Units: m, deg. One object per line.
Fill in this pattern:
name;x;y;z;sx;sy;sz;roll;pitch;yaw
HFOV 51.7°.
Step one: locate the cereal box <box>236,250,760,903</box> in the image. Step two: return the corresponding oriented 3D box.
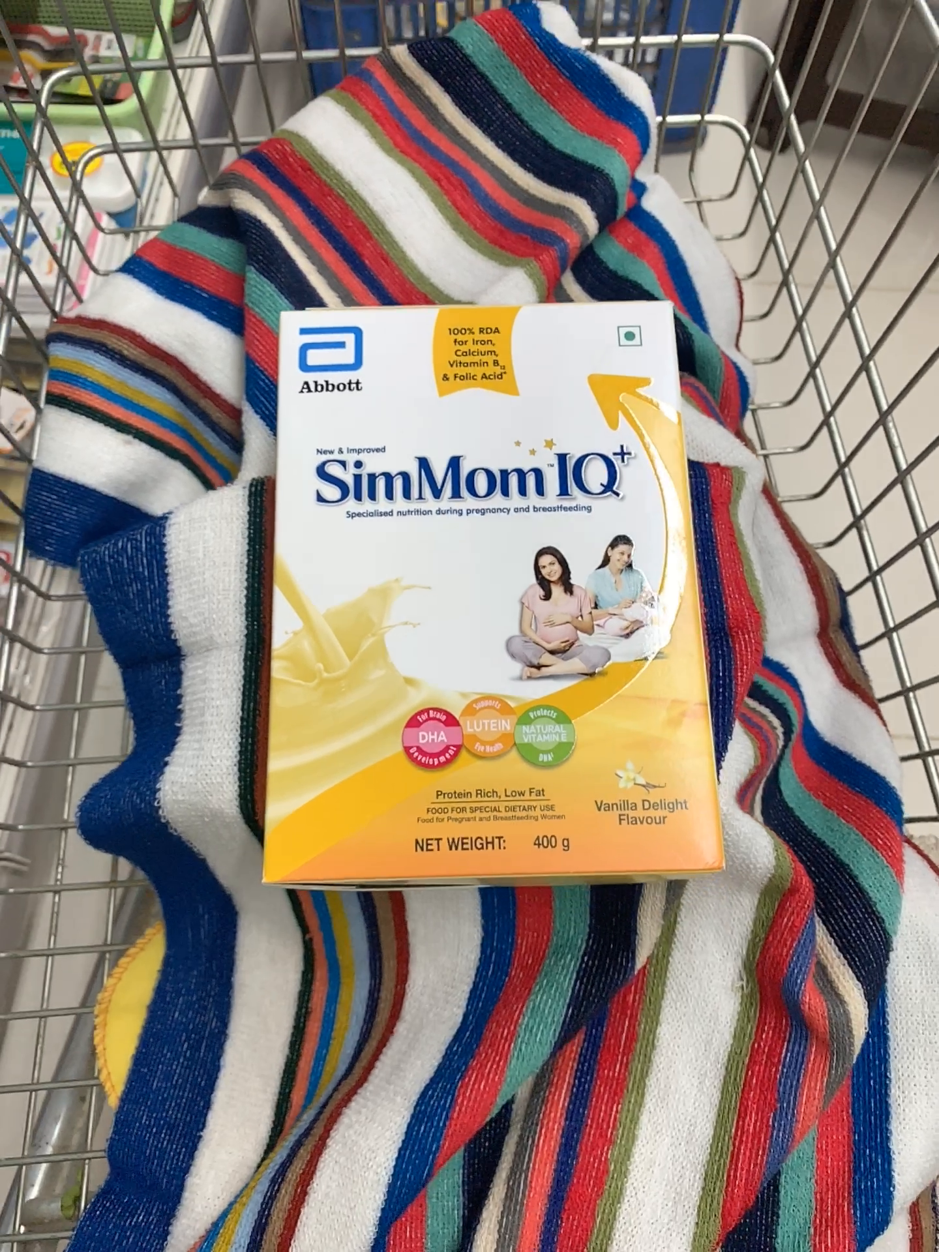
cereal box;0.006;-0.017;0.309;0.140;0.050;0.200;-1;75;0
